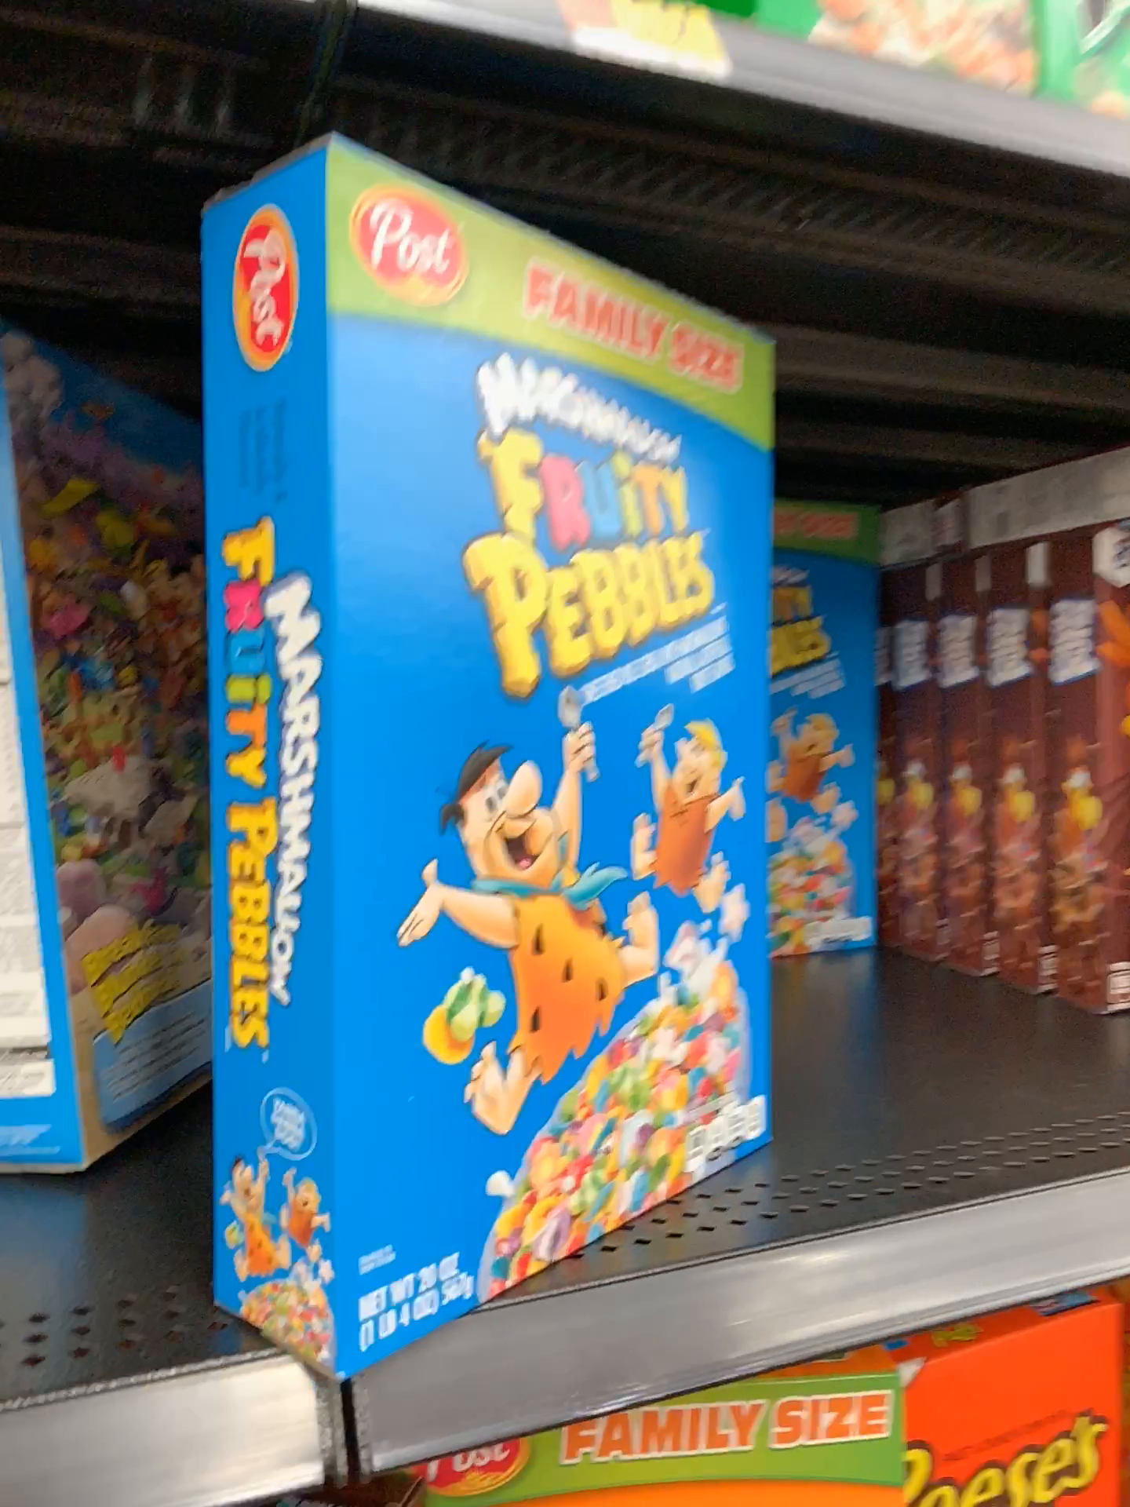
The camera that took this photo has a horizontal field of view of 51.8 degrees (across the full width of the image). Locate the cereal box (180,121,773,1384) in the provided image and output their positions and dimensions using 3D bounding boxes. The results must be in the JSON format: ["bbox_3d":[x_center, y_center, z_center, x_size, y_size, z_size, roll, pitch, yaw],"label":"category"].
[{"bbox_3d":[-0.015,-0.002,0.415,0.070,0.330,0.230,1,2,39],"label":"cereal box"}]
